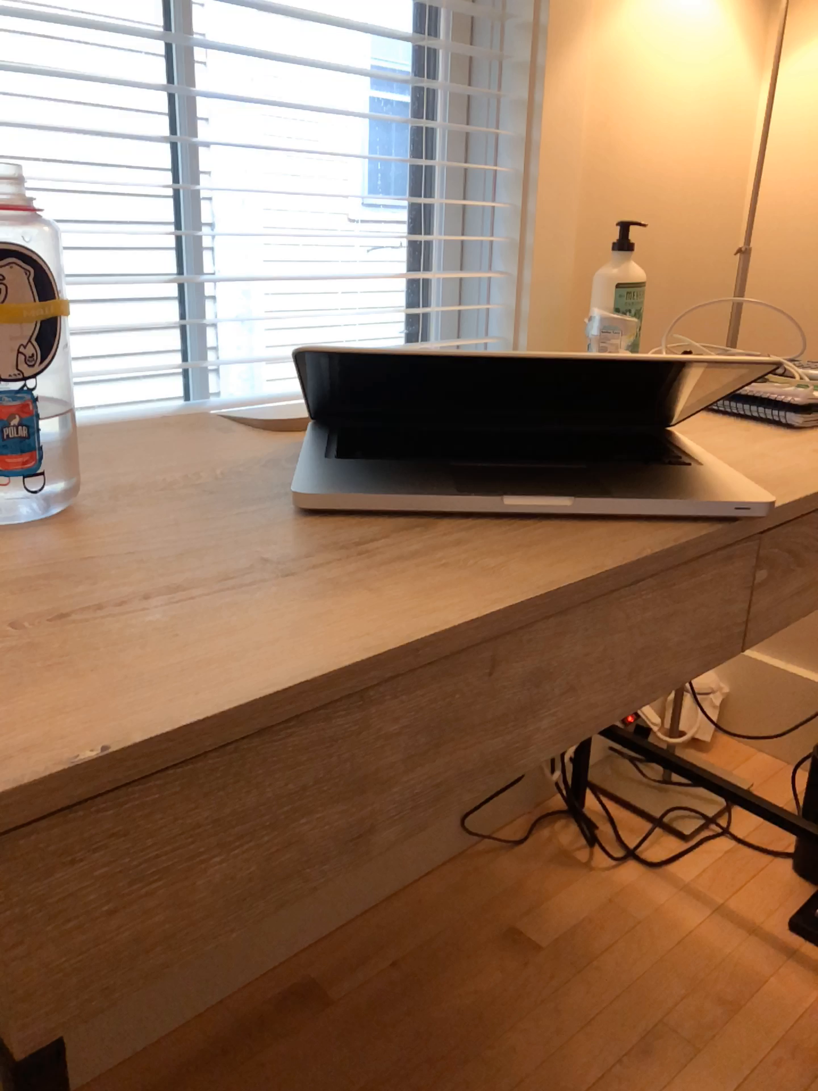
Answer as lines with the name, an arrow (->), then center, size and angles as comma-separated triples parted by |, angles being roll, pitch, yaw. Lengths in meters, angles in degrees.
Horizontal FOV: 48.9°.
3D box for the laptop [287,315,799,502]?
laptop -> 0.073, -0.104, 0.633 | 0.300, 0.082, 0.210 | 1, 20, -3
